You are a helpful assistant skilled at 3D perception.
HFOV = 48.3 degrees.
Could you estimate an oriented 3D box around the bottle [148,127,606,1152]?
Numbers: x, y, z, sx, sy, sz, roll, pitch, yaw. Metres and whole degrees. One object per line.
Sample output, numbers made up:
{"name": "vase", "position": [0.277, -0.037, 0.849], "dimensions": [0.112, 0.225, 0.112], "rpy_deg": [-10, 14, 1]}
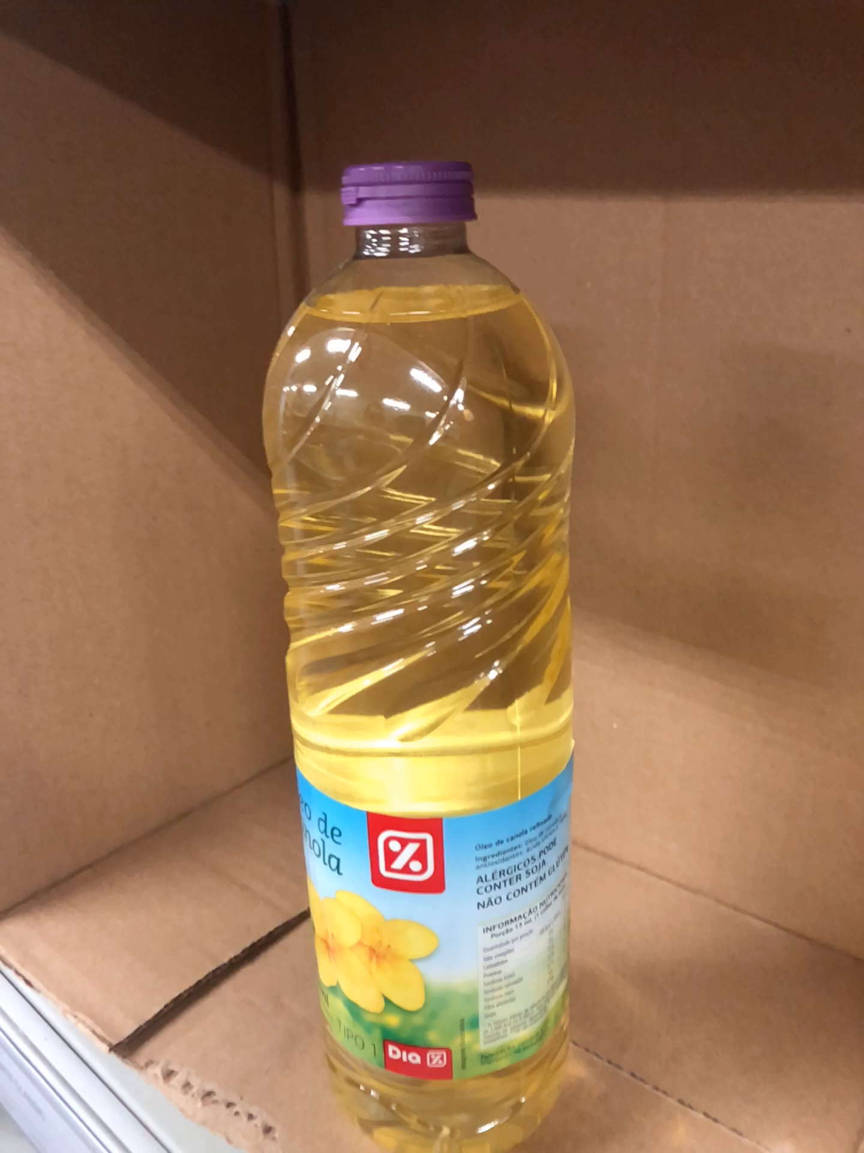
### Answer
{"name": "bottle", "position": [-0.005, 0.035, 0.247], "dimensions": [0.080, 0.268, 0.050], "rpy_deg": [15, 29, 37]}
